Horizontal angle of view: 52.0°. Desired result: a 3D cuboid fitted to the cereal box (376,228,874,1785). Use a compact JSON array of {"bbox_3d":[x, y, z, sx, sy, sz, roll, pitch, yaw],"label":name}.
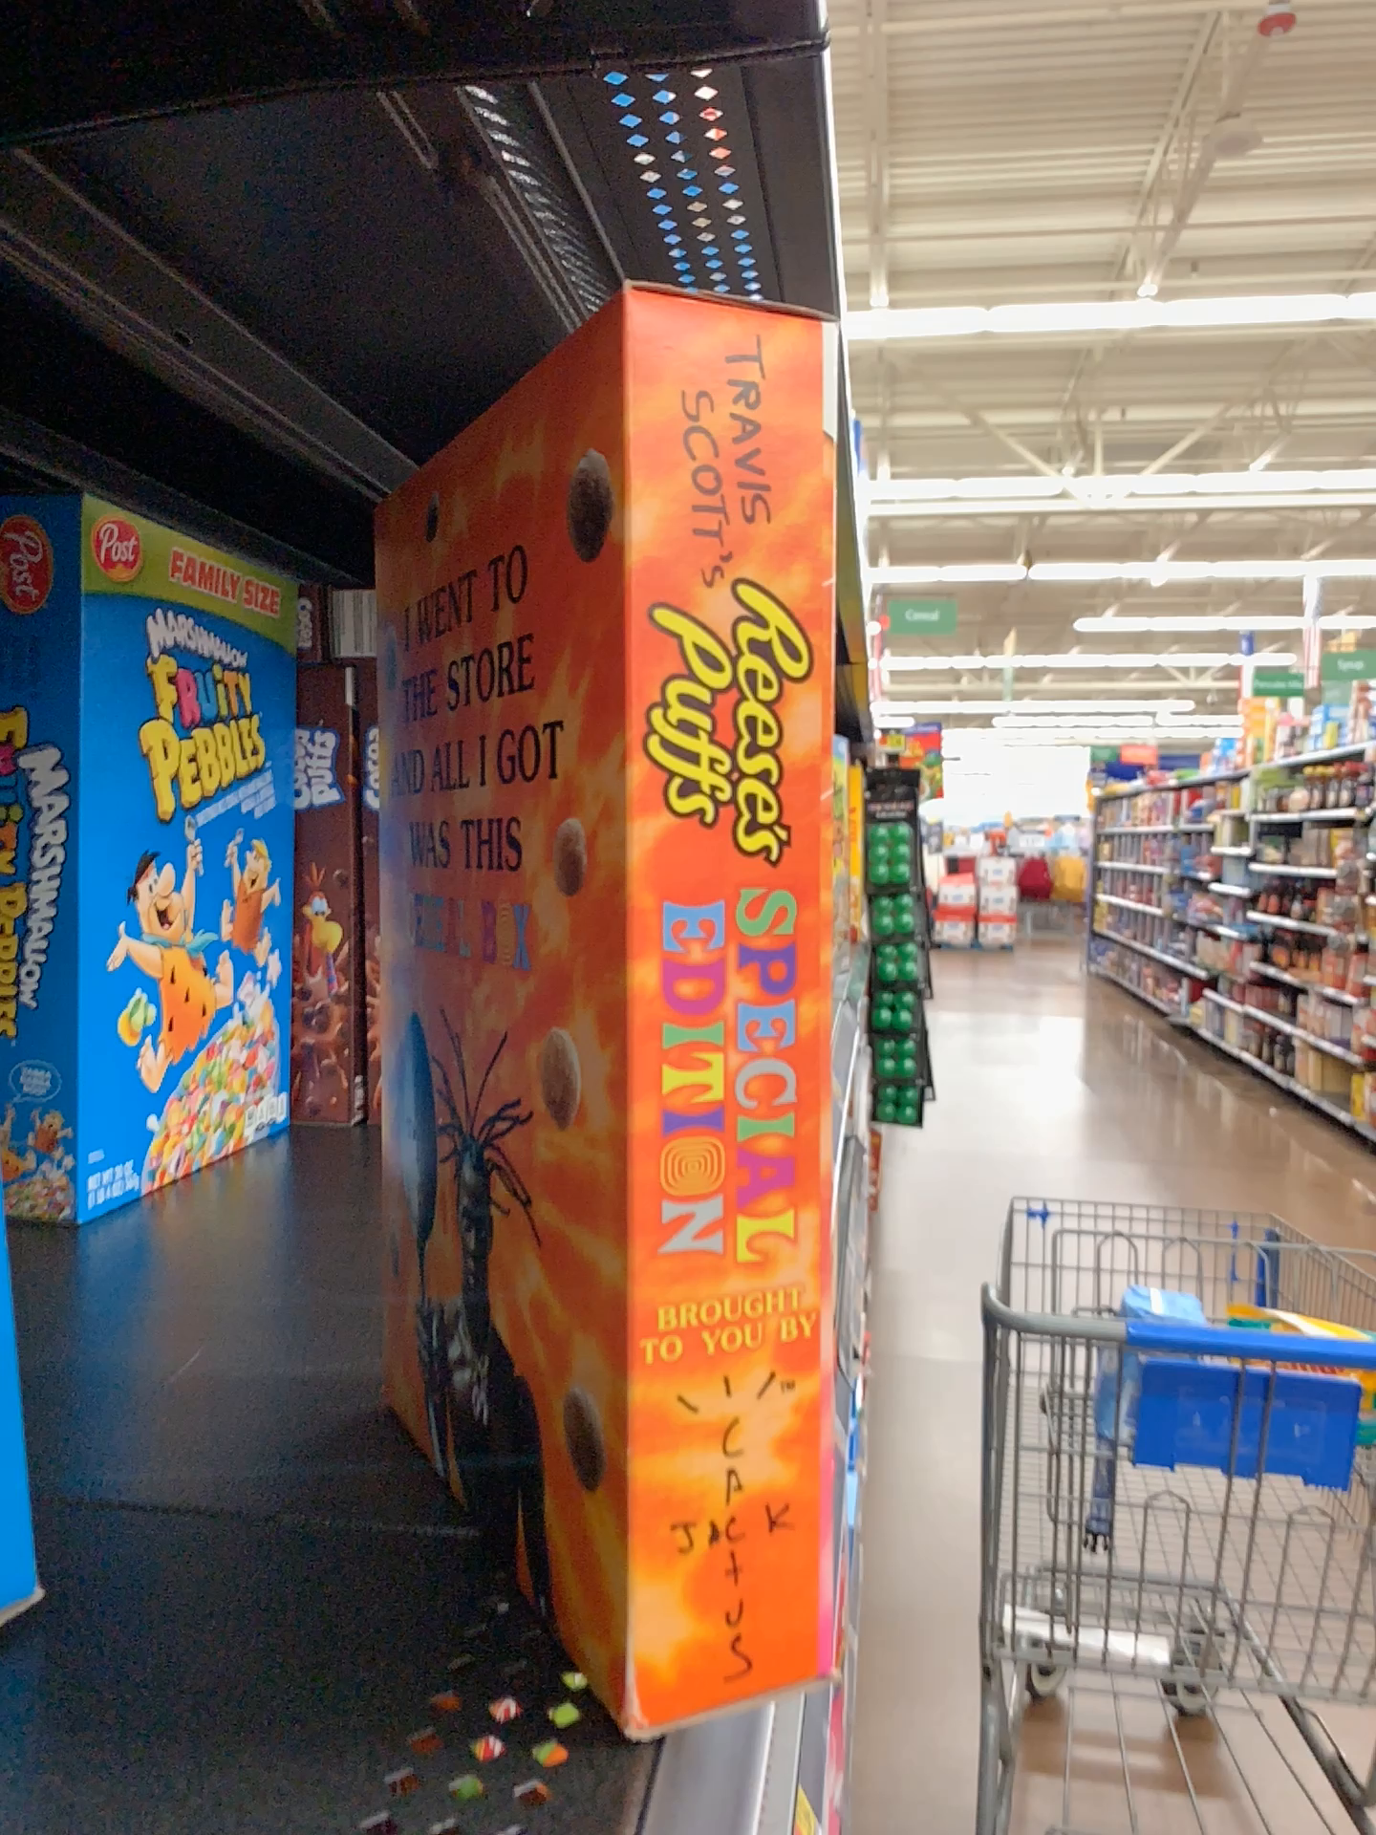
[{"bbox_3d":[-0.029,0.014,0.362,0.050,0.290,0.200,-2,4,-26],"label":"cereal box"}]
